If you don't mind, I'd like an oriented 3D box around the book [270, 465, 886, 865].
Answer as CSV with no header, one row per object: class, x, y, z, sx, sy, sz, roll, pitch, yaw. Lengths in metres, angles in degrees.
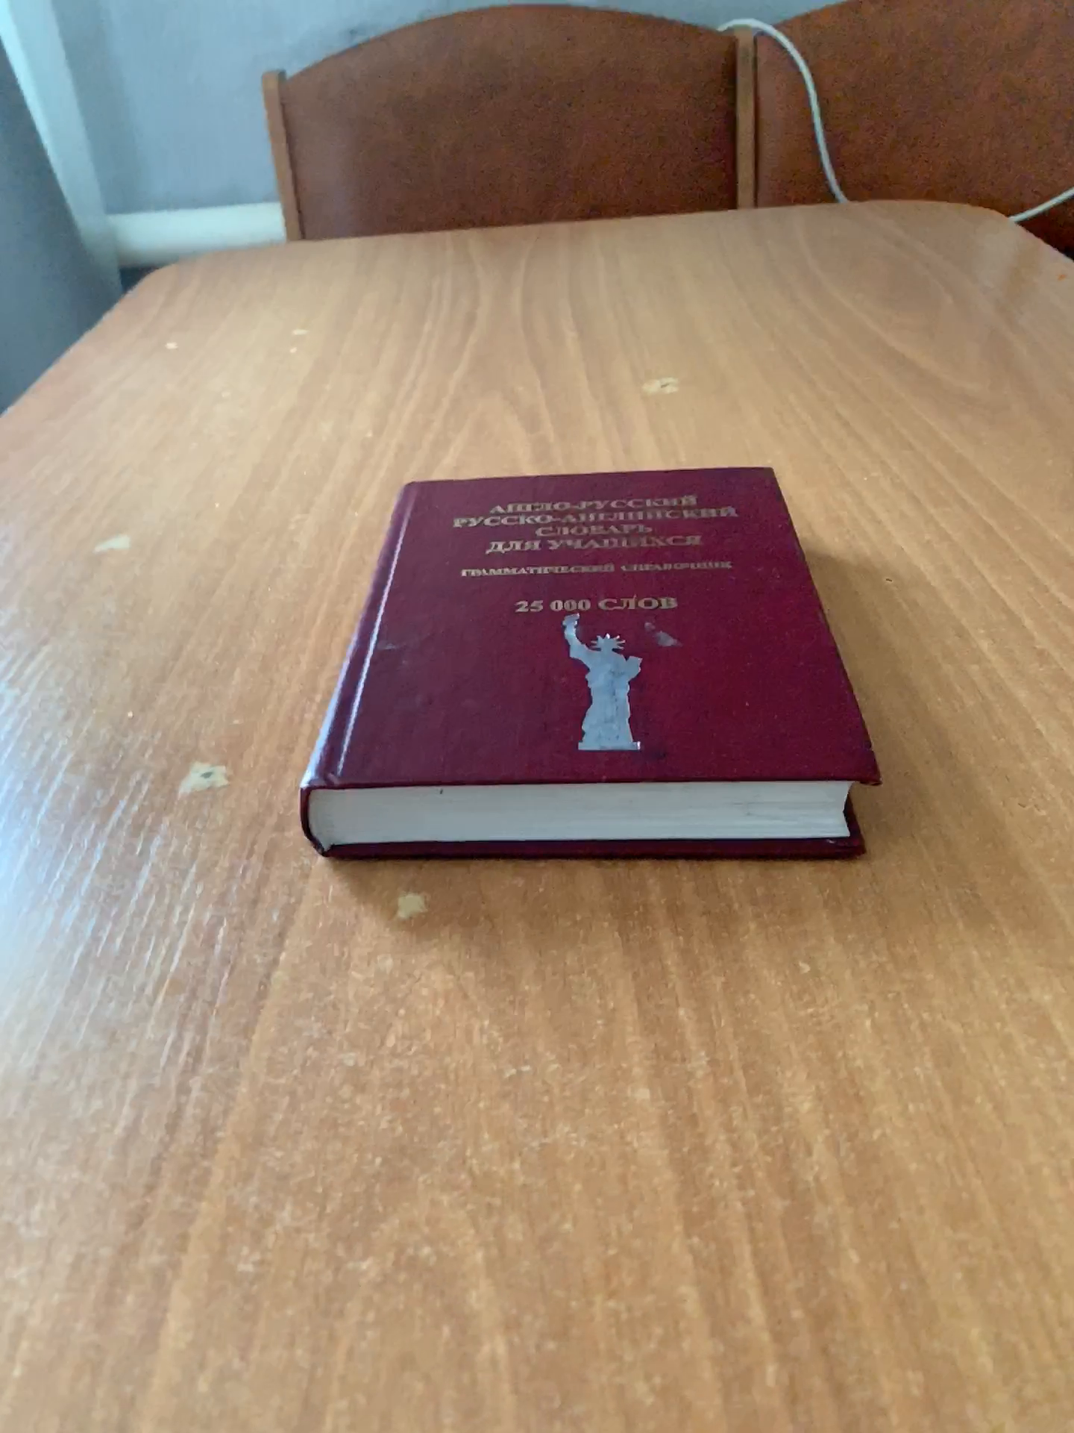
book,0.011,-0.025,0.317,0.134,0.023,0.167,-1,36,3
